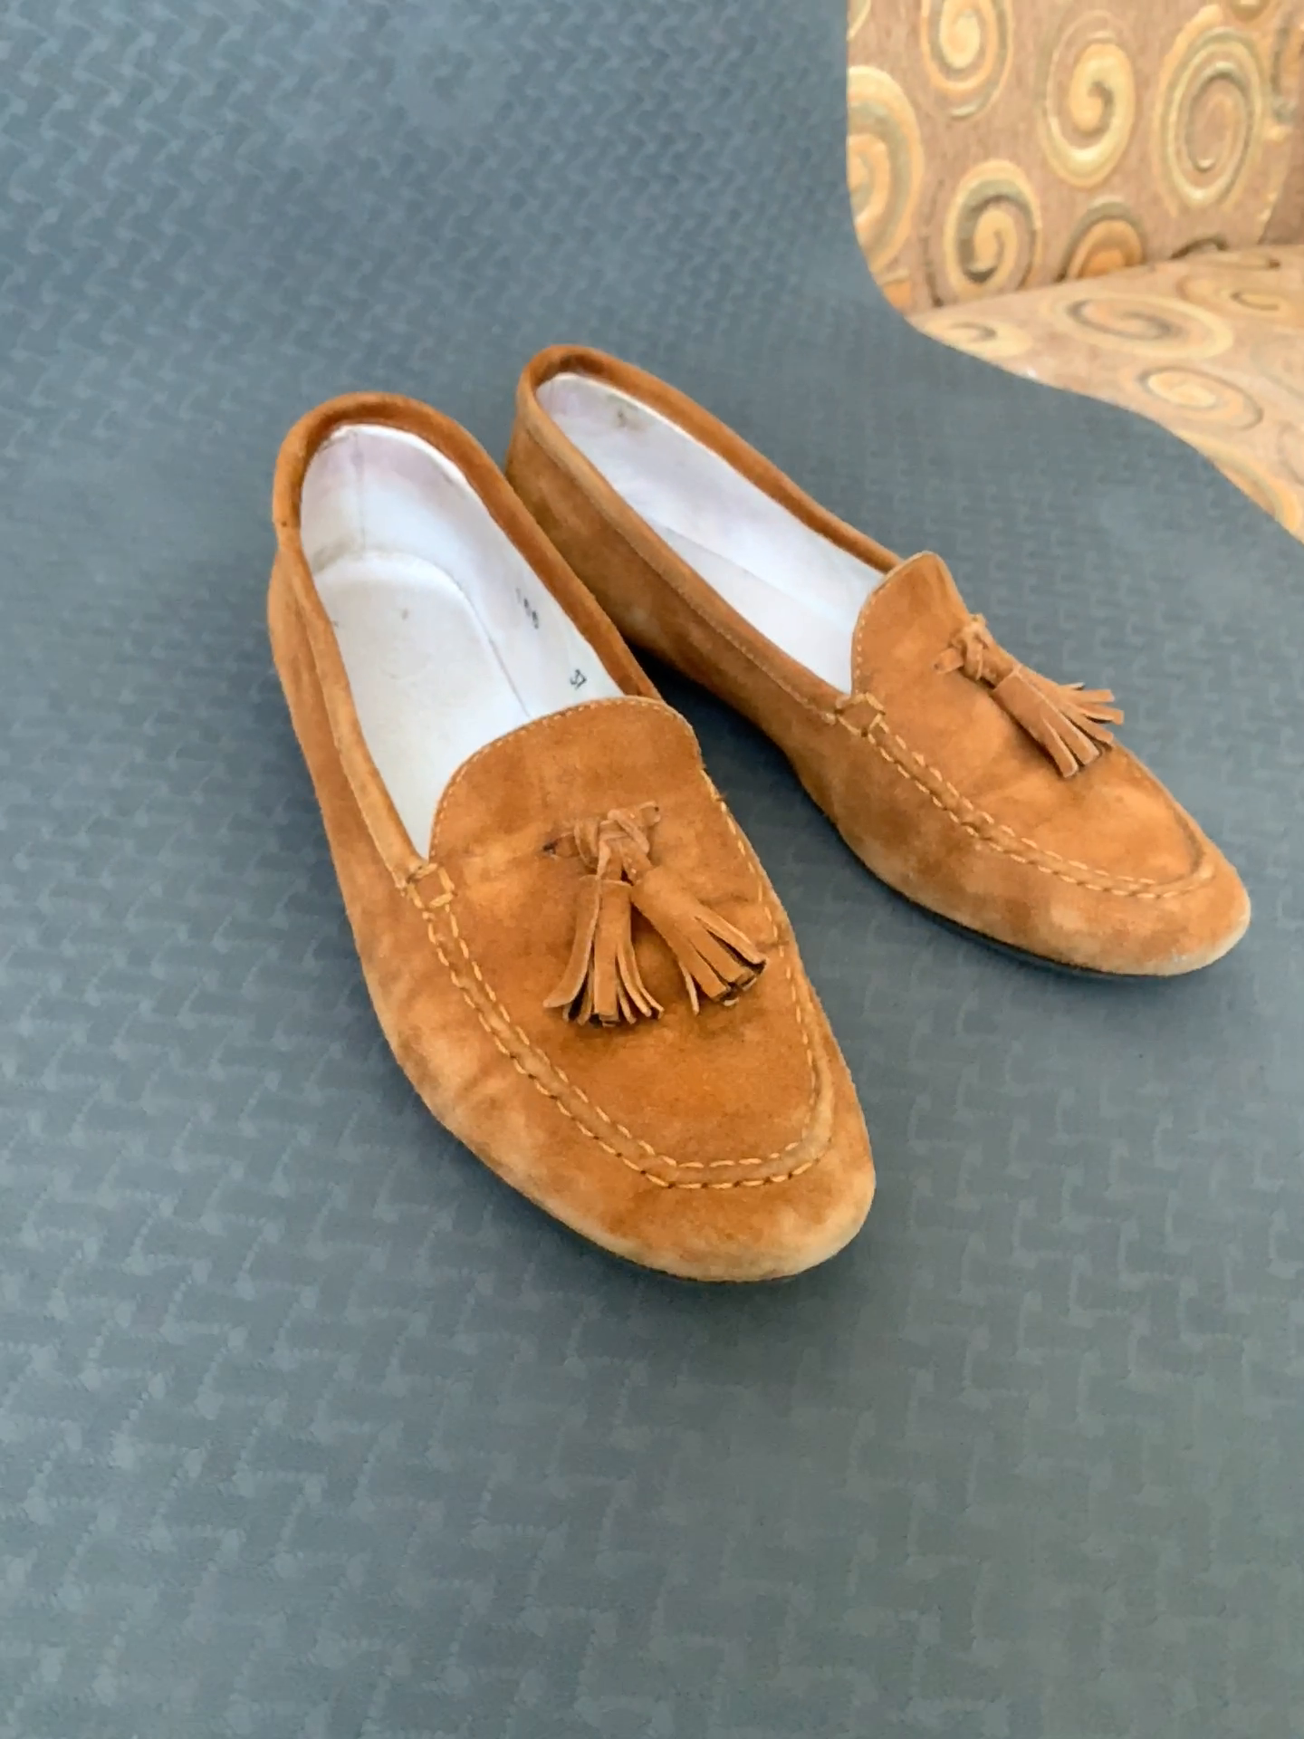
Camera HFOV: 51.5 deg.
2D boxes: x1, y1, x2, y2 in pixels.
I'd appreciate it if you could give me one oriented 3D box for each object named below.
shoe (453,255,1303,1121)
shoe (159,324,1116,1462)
[{"bbox_3d":[0.060,-0.062,0.362,0.090,0.090,0.240,-33,61,-33],"label":"shoe"},{"bbox_3d":[-0.025,-0.016,0.293,0.090,0.090,0.231,-16,53,-24],"label":"shoe"}]
